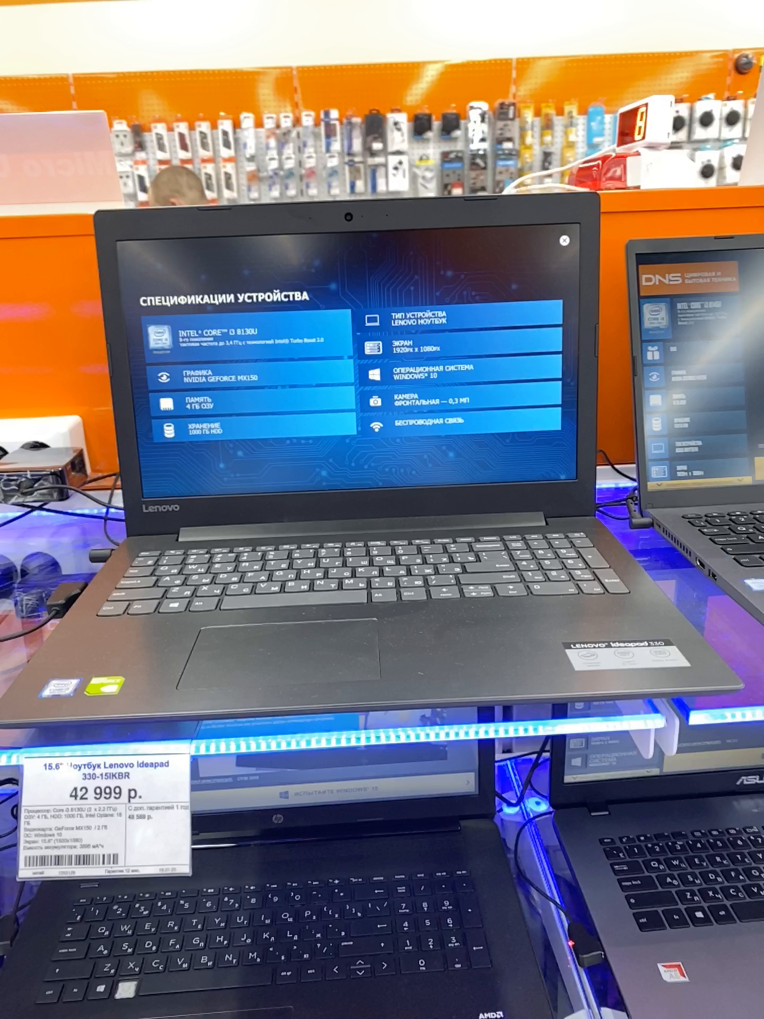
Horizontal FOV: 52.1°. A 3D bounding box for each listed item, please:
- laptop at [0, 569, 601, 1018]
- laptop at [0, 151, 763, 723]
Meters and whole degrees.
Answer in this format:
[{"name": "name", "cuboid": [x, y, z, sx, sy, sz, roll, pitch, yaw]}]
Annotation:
[{"name": "laptop", "cuboid": [-0.092, 0.220, 0.571, 0.400, 0.263, 0.272, -3, 16, -4]}, {"name": "laptop", "cuboid": [-0.019, -0.067, 0.485, 0.377, 0.245, 0.290, -2, 18, -2]}]
